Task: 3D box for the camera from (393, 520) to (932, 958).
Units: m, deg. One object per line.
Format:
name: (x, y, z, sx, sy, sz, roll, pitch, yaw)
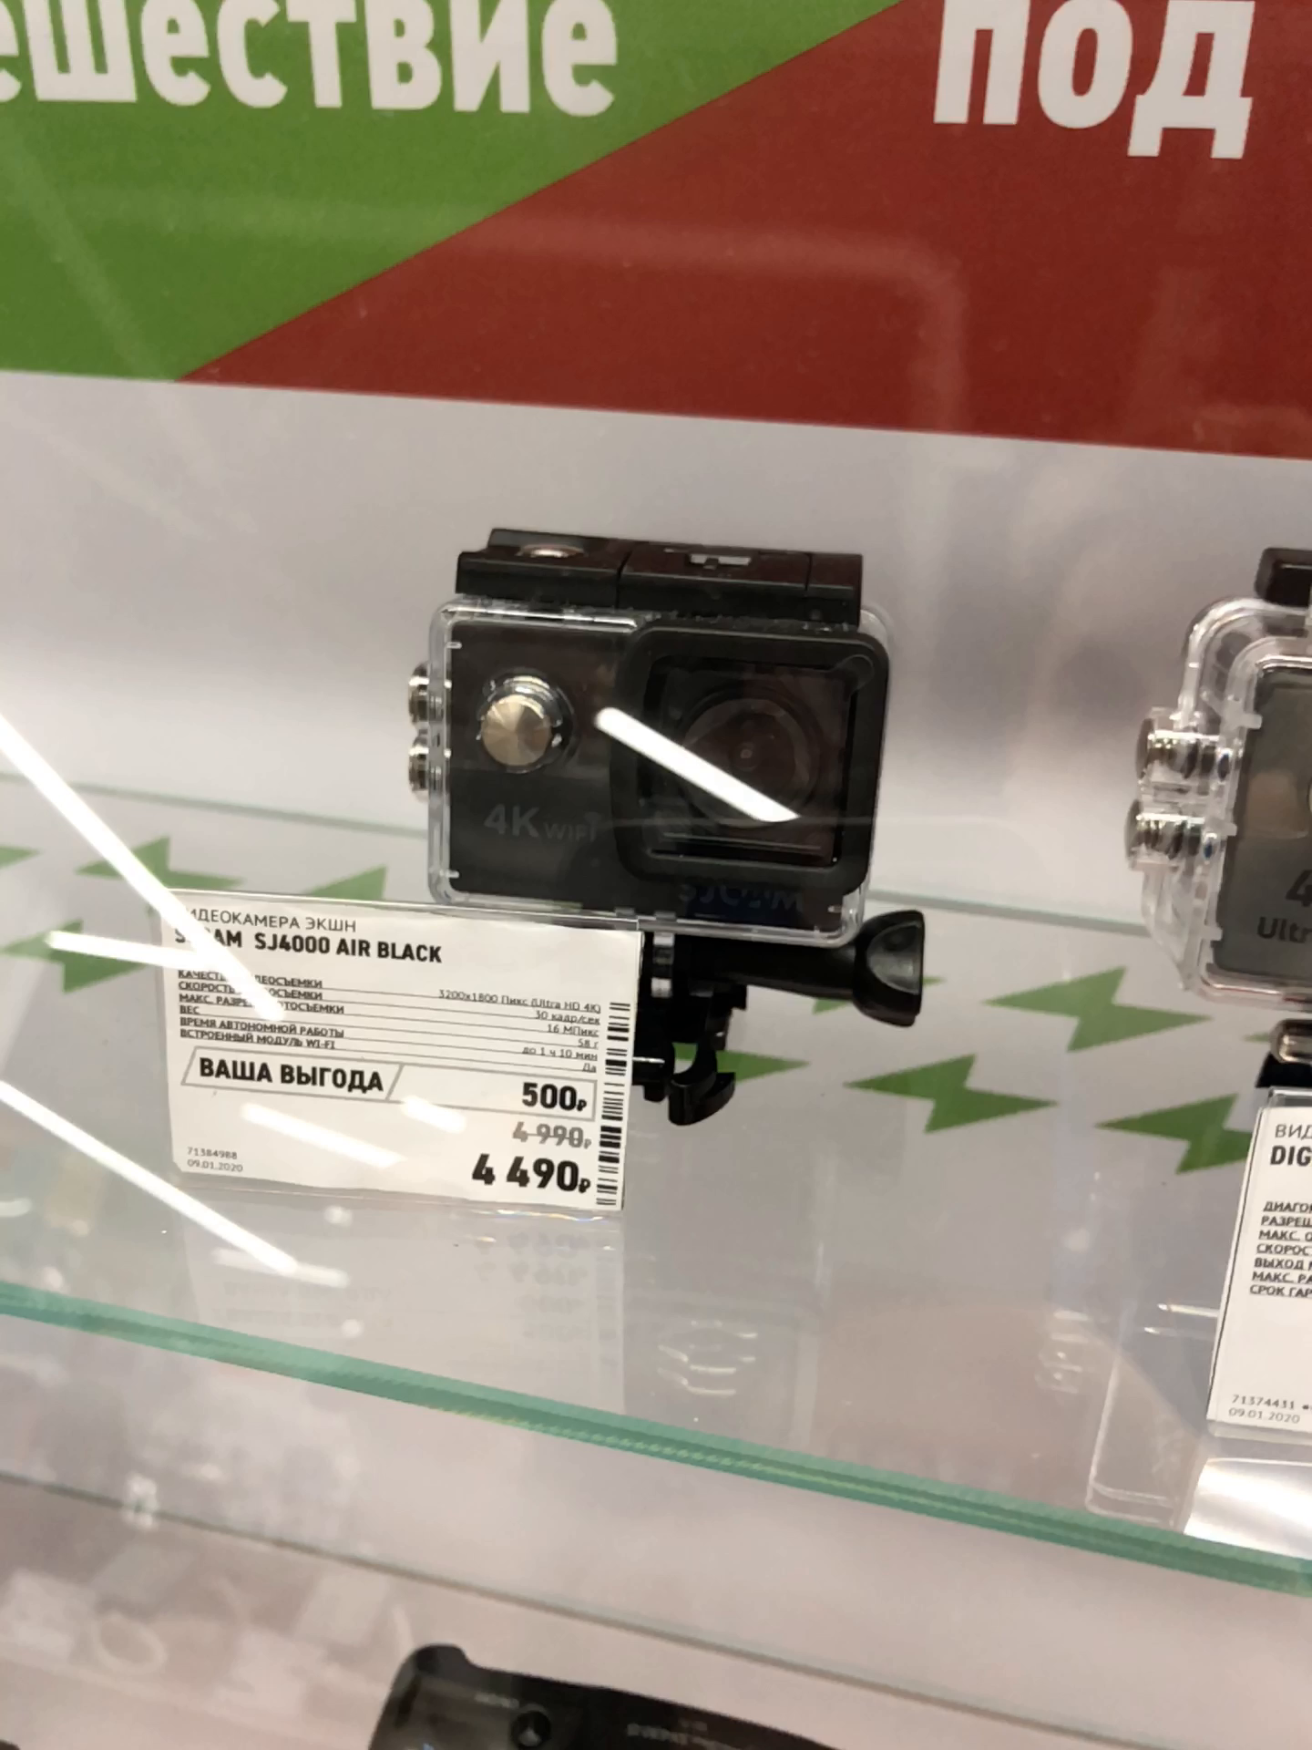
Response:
camera: (0.001, -0.022, 0.224, 0.074, 0.056, 0.033, 4, 18, 6)
